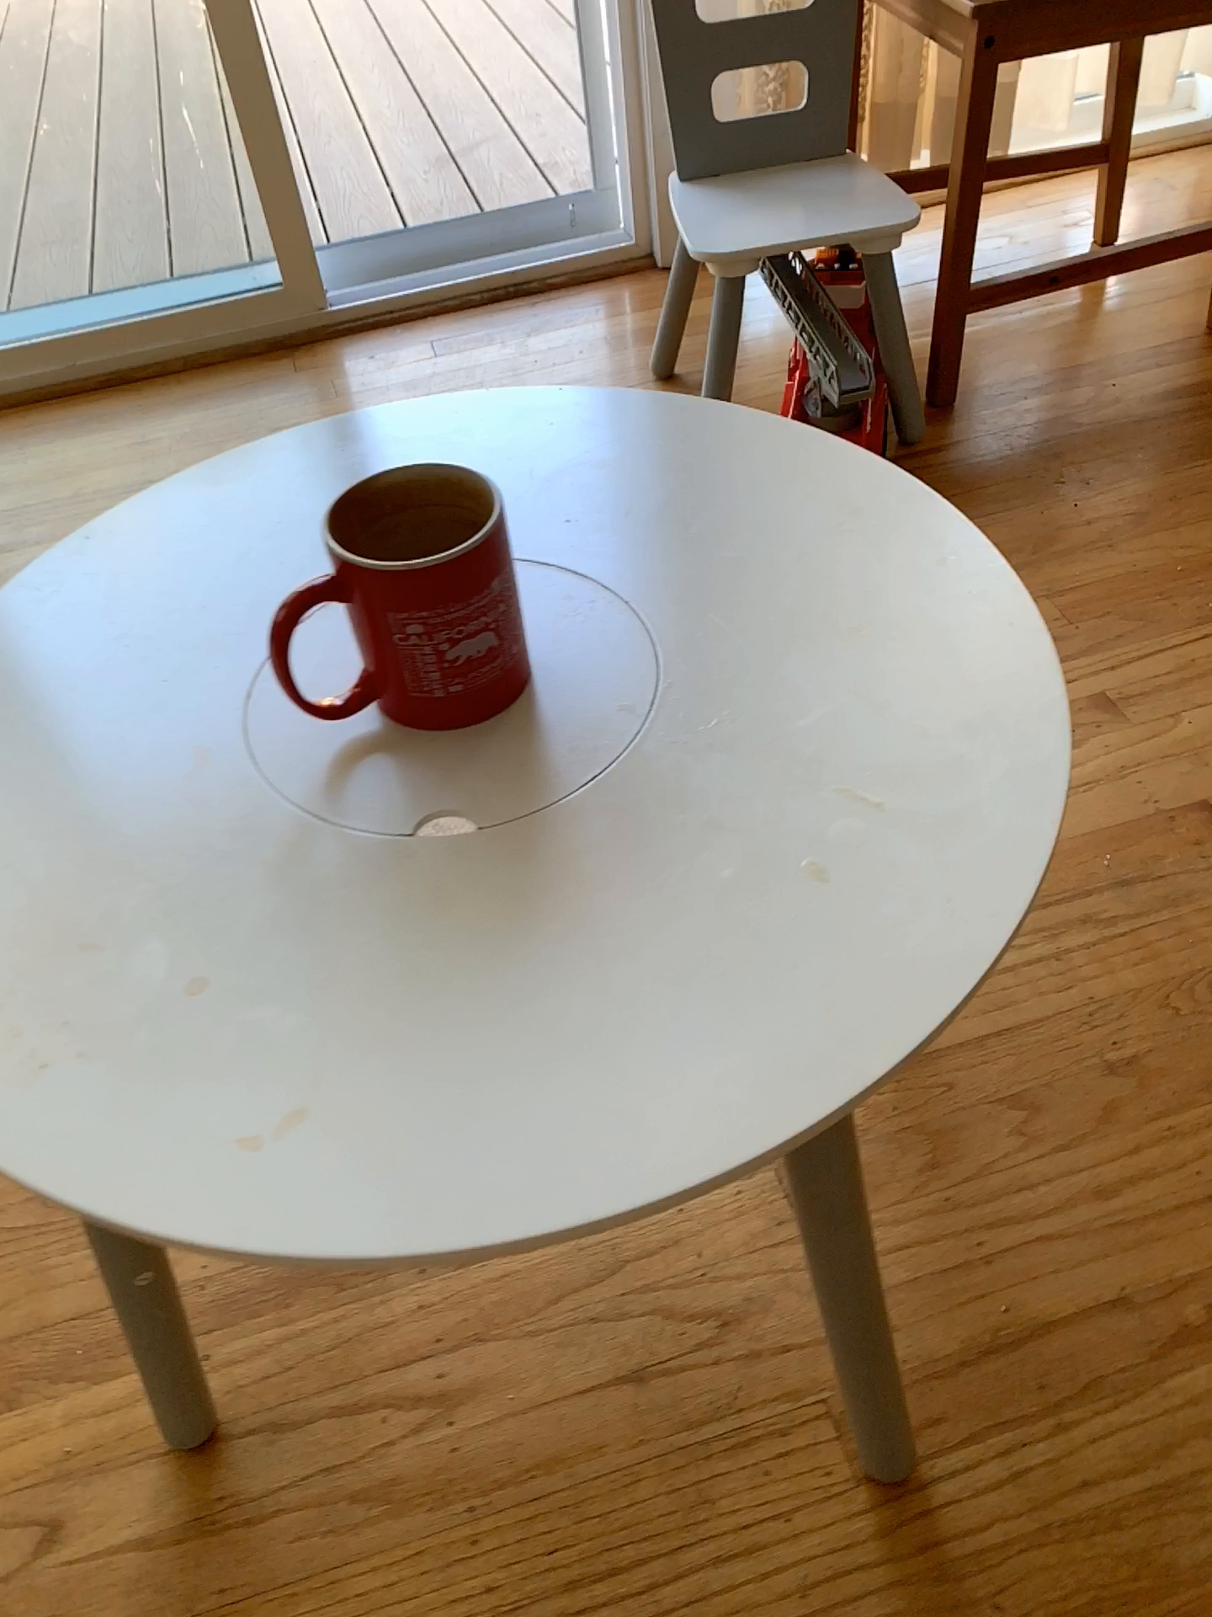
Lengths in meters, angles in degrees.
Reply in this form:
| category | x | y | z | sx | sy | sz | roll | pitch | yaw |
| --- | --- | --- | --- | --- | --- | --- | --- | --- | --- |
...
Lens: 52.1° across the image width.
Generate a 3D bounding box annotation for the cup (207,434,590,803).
| category | x | y | z | sx | sy | sz | roll | pitch | yaw |
| --- | --- | --- | --- | --- | --- | --- | --- | --- | --- |
| cup | -0.090 | -0.088 | 0.559 | 0.130 | 0.090 | 0.090 | -27 | 50 | -17 |
